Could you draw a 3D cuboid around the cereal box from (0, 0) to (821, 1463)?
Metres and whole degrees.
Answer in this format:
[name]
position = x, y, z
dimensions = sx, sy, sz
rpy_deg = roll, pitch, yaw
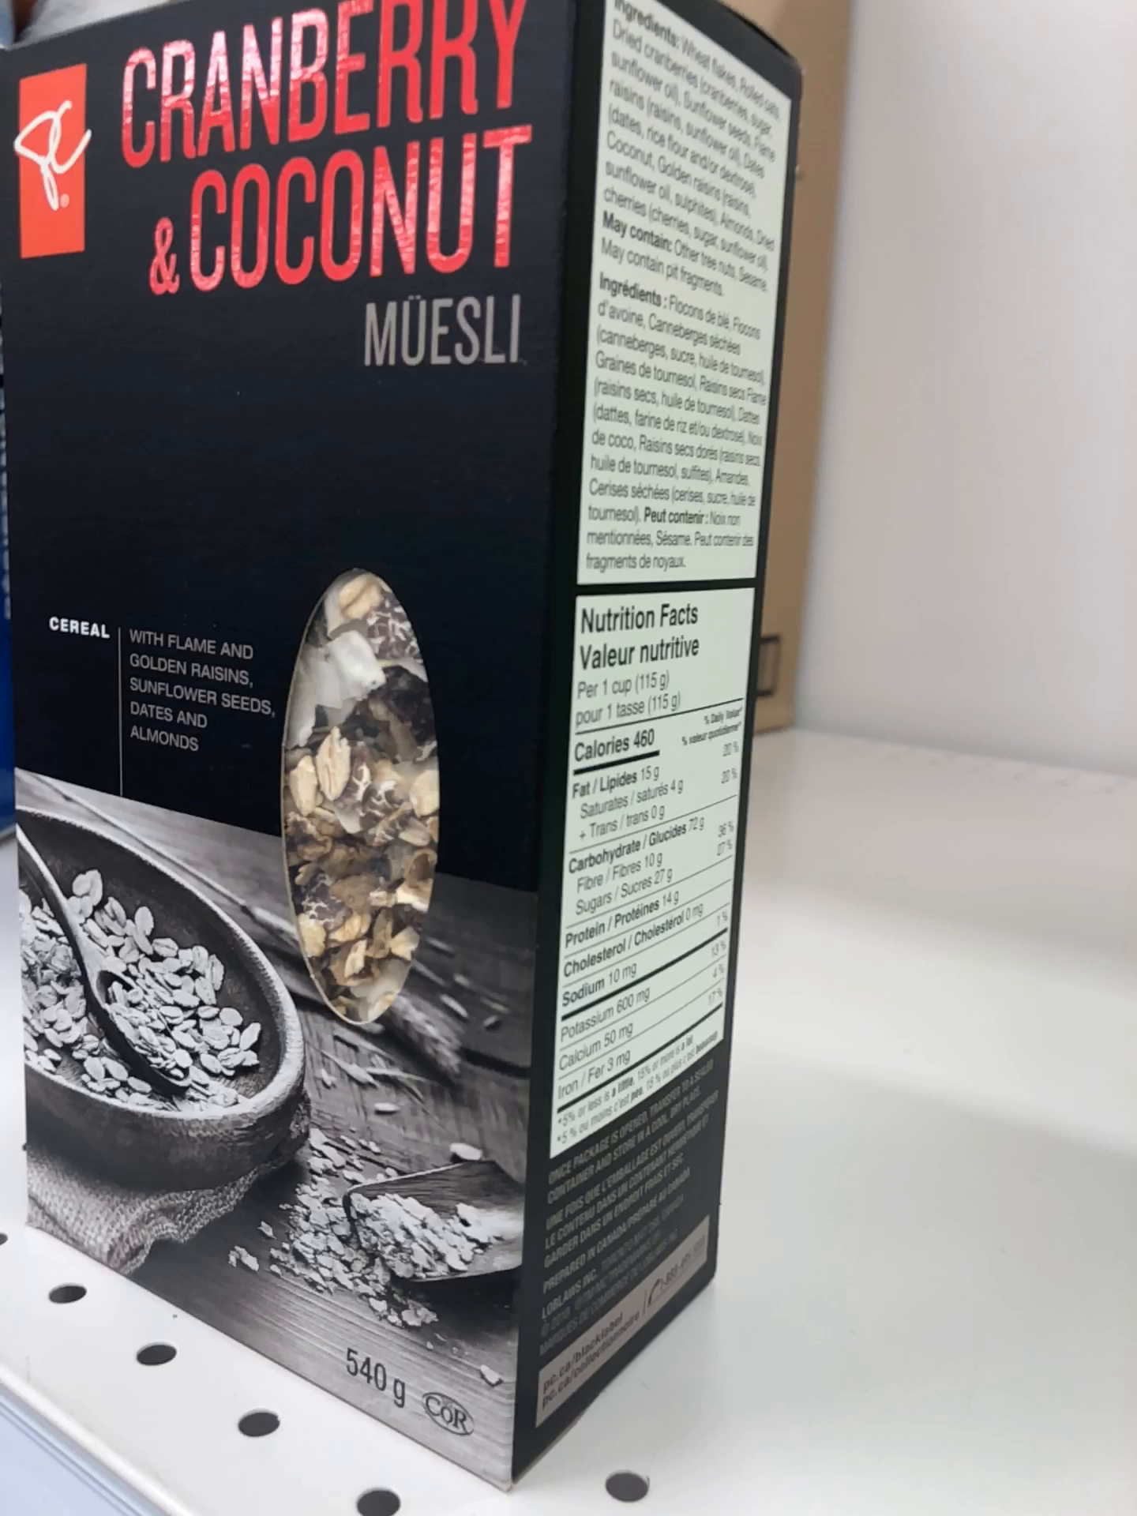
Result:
[cereal box]
position = -0.036, -0.017, 0.215
dimensions = 0.120, 0.200, 0.070
rpy_deg = 9, 10, 33
